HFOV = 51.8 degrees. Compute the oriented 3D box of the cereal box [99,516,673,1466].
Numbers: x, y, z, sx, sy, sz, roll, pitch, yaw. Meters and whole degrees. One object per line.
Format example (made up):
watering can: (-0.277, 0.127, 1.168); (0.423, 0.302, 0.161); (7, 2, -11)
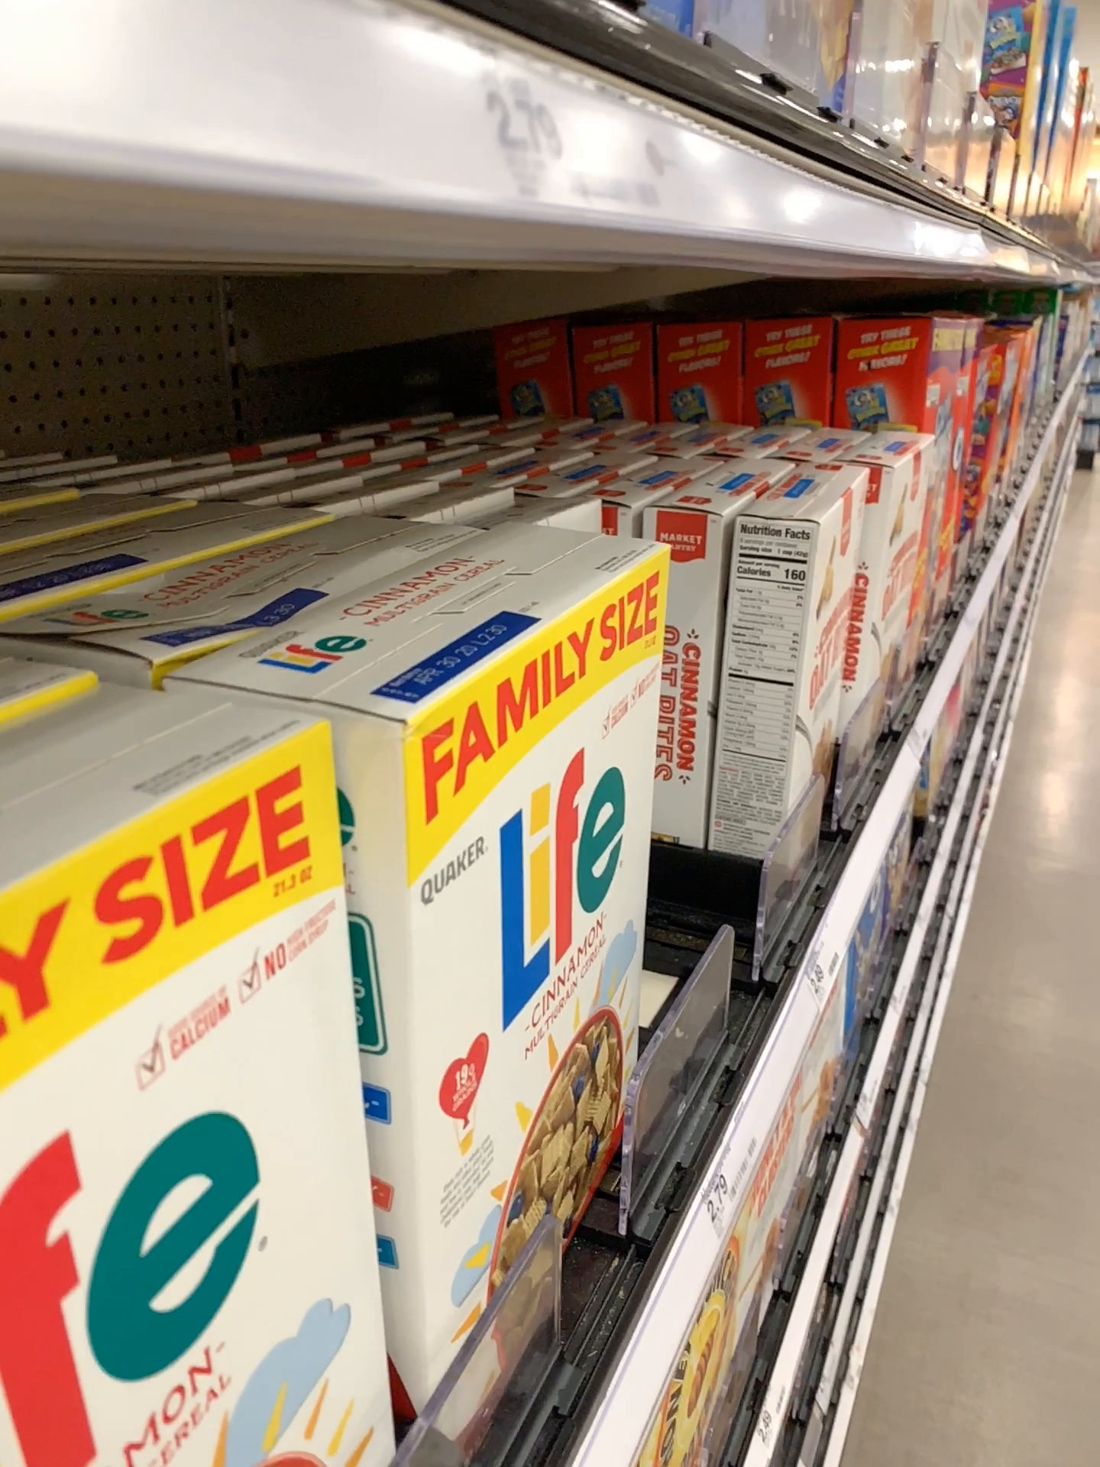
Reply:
cereal box: (-0.032, 0.078, 0.379); (0.070, 0.259, 0.191); (11, 25, 25)
